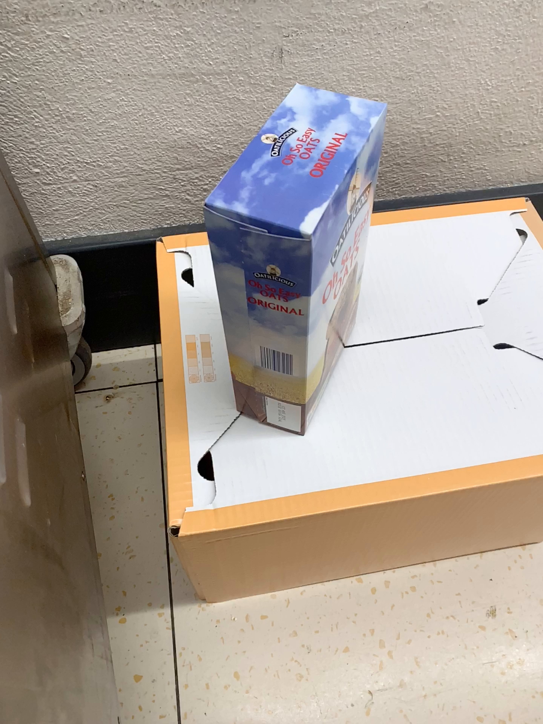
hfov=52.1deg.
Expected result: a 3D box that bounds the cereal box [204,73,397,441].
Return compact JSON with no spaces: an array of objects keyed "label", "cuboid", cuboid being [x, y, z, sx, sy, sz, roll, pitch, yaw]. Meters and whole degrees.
[{"label":"cereal box","cuboid":[0.023,-0.058,0.393,0.060,0.218,0.131,20,58,14]}]
